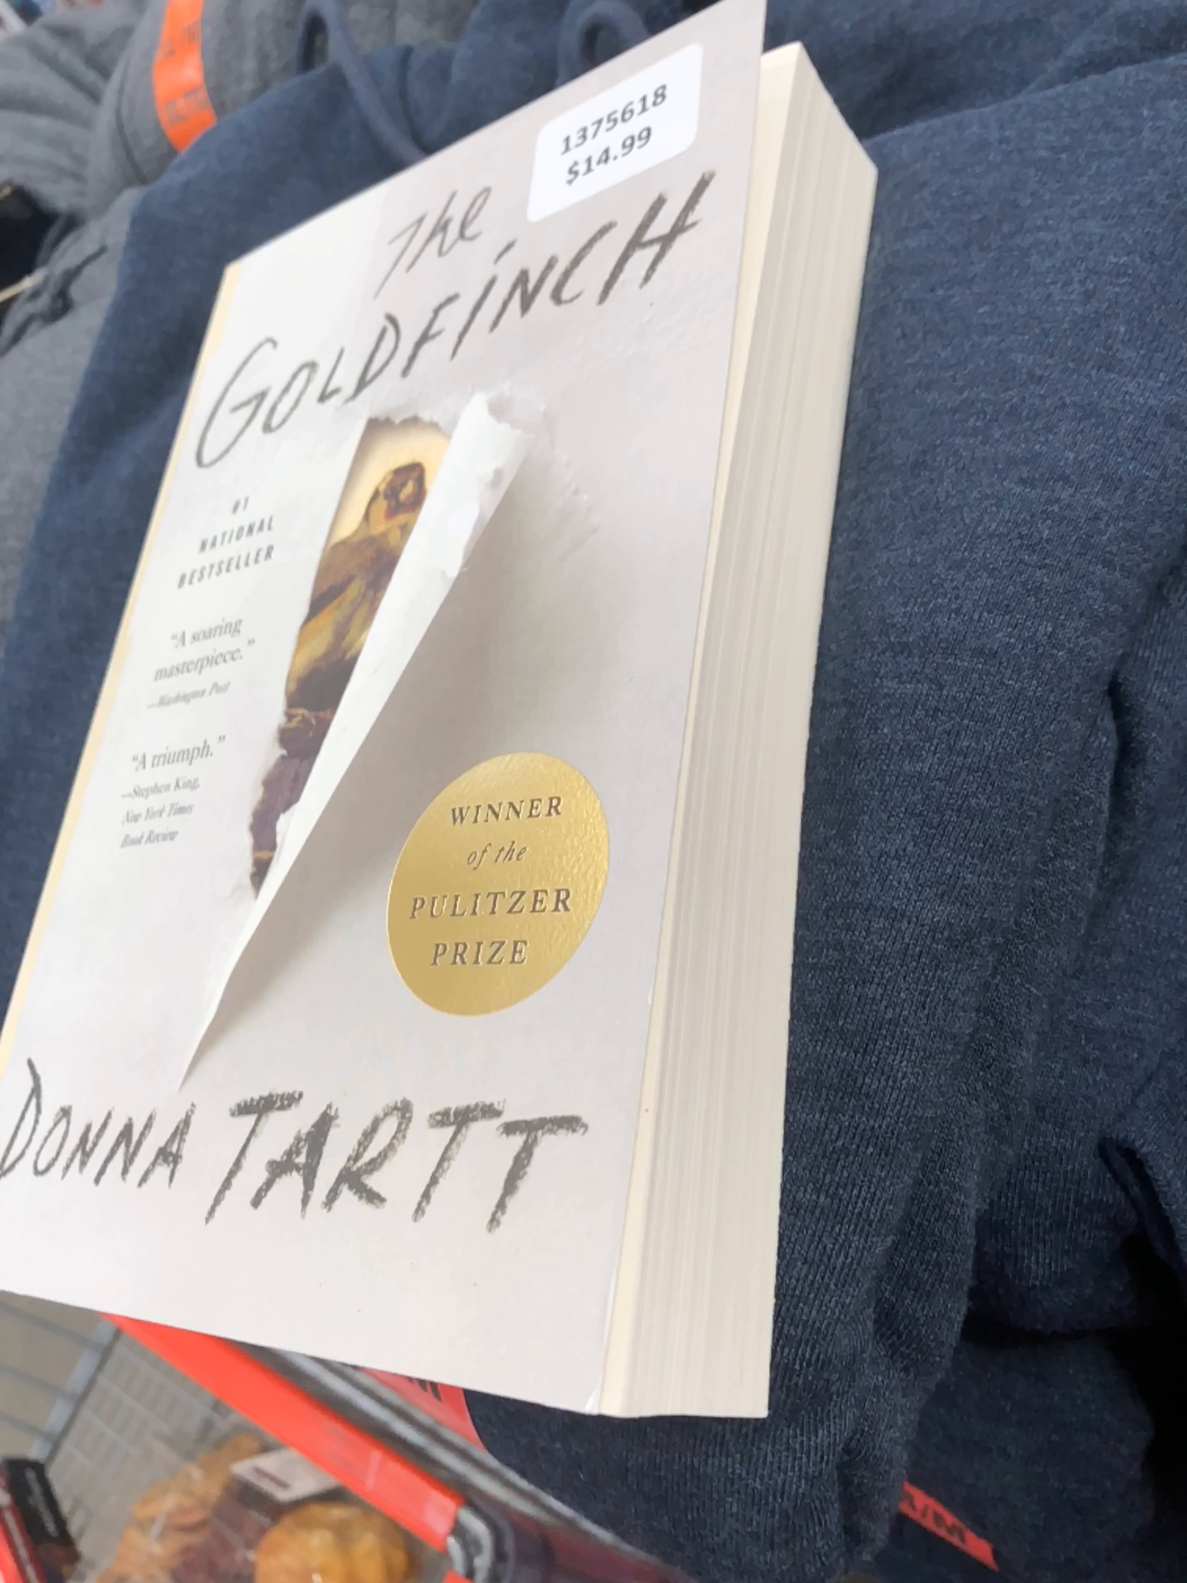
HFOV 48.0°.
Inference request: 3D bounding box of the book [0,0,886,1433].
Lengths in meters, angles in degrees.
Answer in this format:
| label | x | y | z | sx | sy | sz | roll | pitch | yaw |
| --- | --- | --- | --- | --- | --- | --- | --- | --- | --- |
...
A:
| label | x | y | z | sx | sy | sz | roll | pitch | yaw |
| --- | --- | --- | --- | --- | --- | --- | --- | --- | --- |
| book | -0.035 | -0.019 | 0.243 | 0.158 | 0.041 | 0.222 | -8 | 64 | 36 |
